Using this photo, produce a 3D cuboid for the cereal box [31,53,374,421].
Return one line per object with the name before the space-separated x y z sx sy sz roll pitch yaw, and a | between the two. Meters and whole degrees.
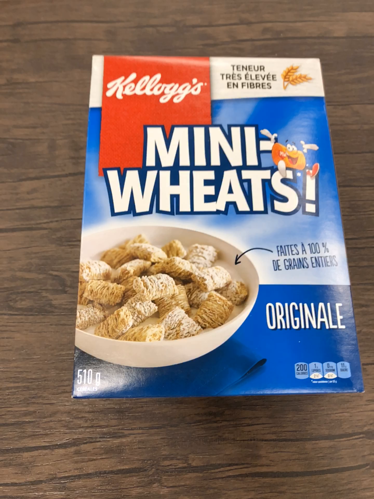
cereal box | 0.009 -0.019 0.321 0.210 0.060 0.270 -1 71 -3
